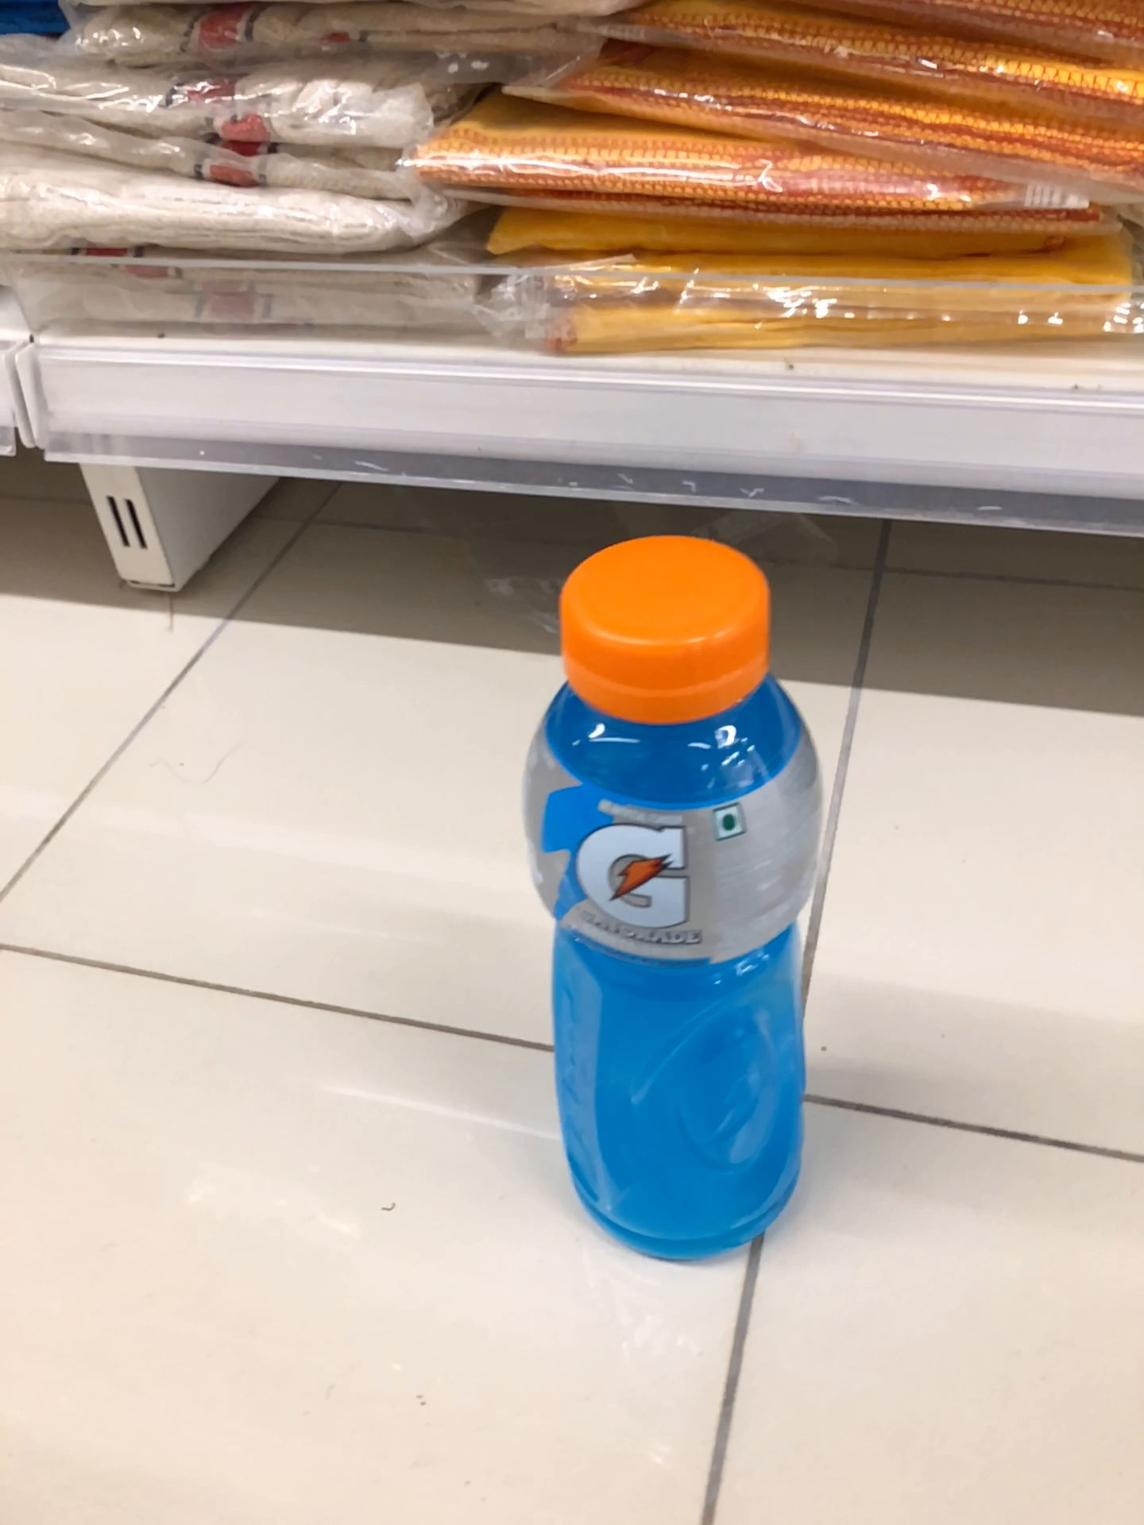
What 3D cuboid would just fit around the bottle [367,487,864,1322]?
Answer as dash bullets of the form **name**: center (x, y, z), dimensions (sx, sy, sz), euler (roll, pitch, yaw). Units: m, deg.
- **bottle**: center (0.018, 0.042, 0.301), dimensions (0.070, 0.189, 0.070), euler (-4, 40, 3)
